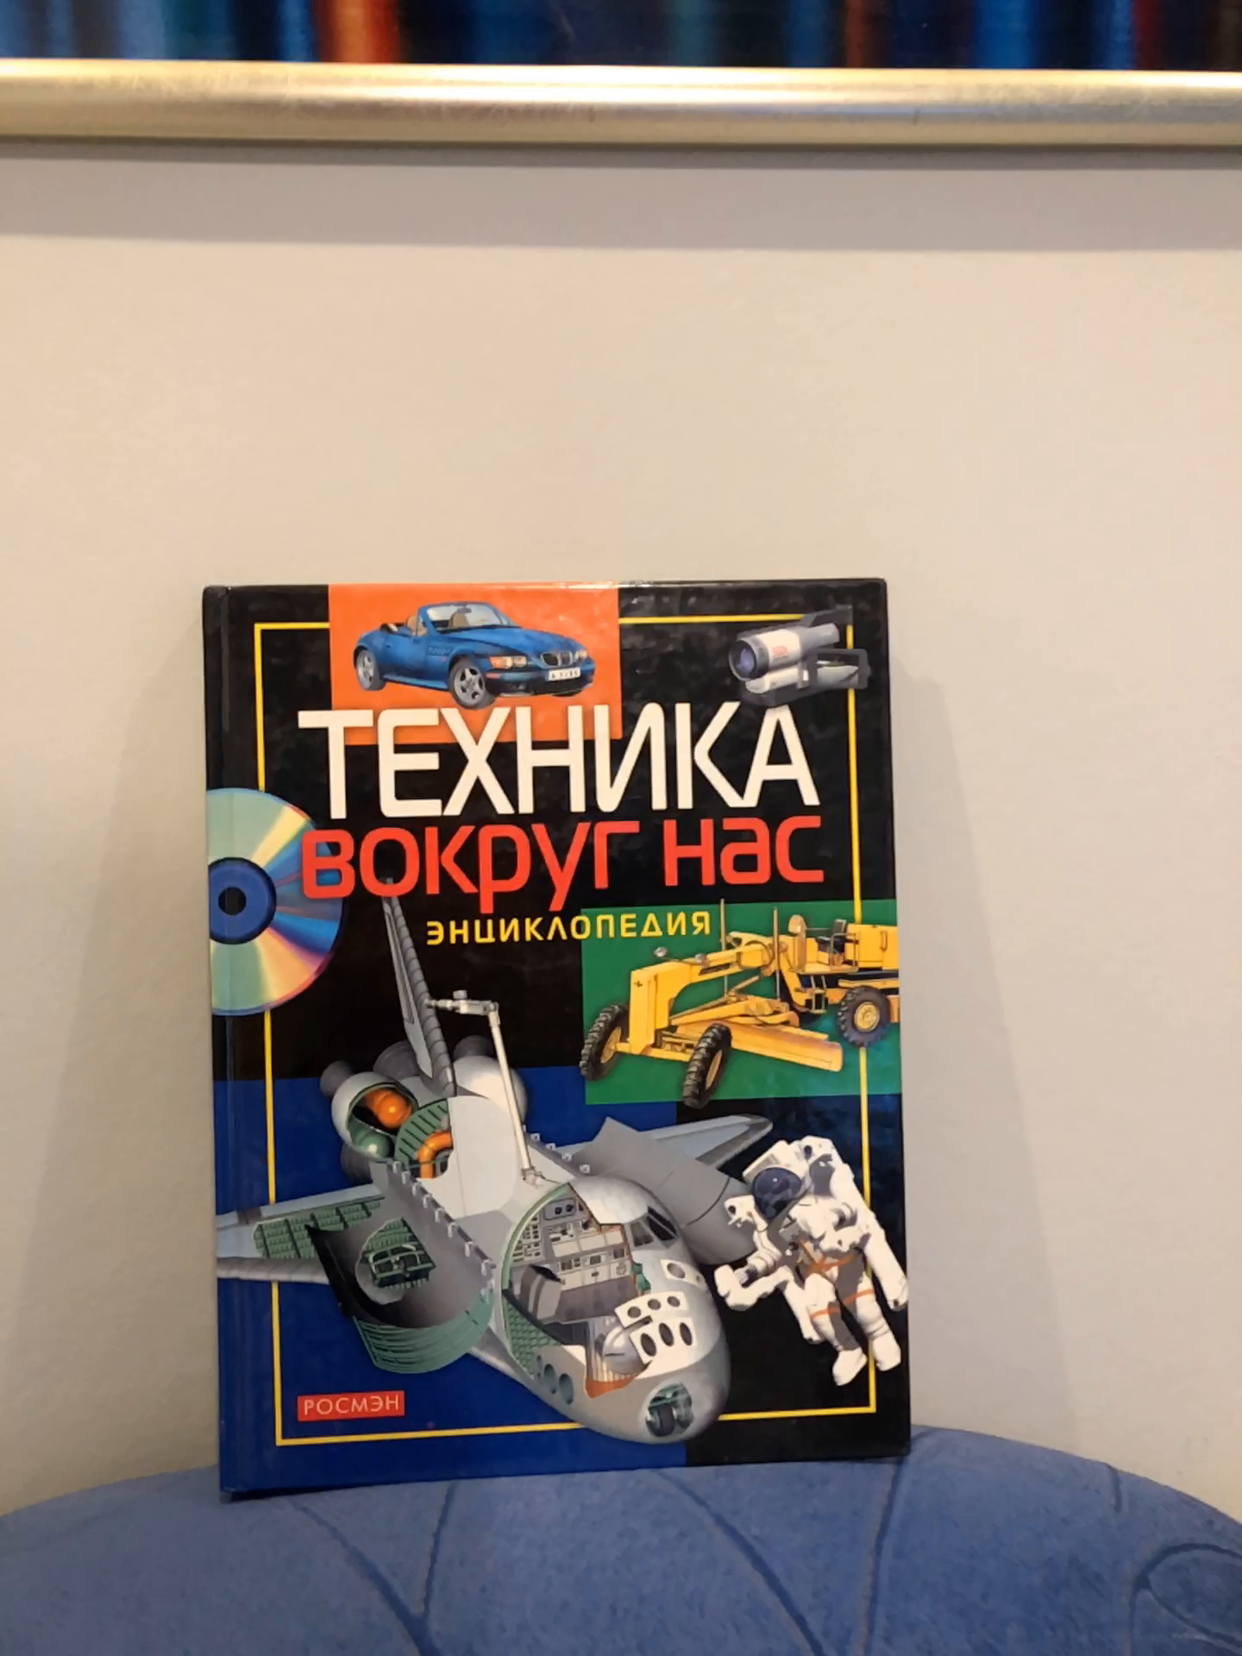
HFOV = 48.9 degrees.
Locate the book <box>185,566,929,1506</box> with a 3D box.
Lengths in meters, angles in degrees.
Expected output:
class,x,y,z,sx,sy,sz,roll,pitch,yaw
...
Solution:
class,x,y,z,sx,sy,sz,roll,pitch,yaw
book,-0.019,0.062,0.436,0.220,0.280,0.030,-2,0,-3
